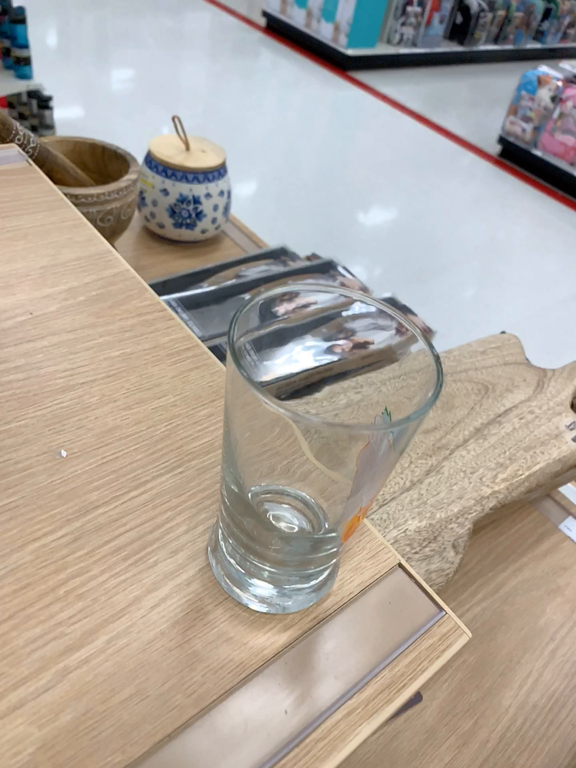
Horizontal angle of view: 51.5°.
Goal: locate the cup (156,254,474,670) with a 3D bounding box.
[{"bbox_3d":[0.005,0.033,0.223,0.080,0.119,0.080,8,43,-7],"label":"cup"}]
